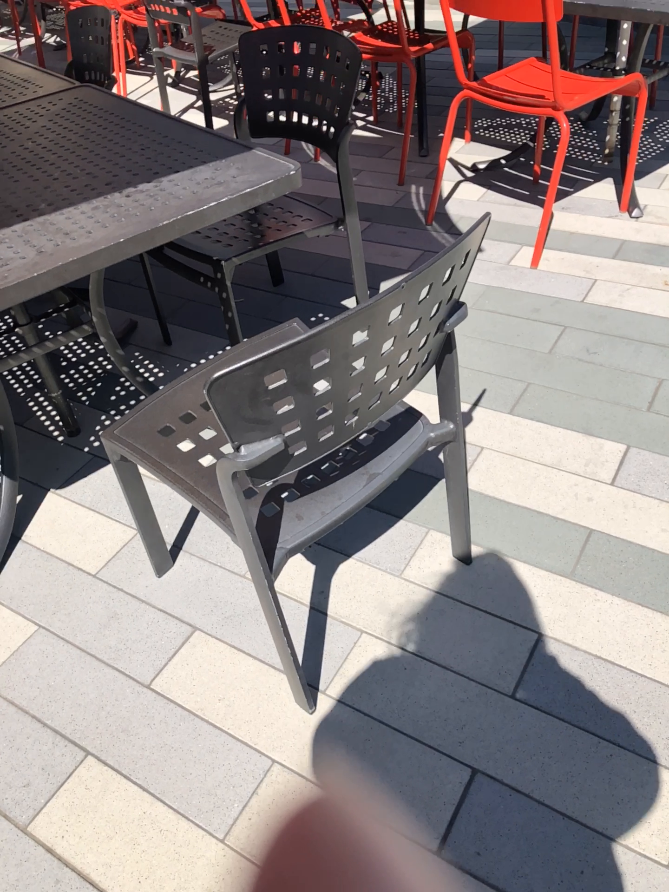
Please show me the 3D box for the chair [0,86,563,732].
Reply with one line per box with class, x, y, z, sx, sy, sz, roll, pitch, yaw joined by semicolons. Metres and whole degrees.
chair;-0.062;-0.067;1.211;0.532;0.756;0.521;32;53;31
